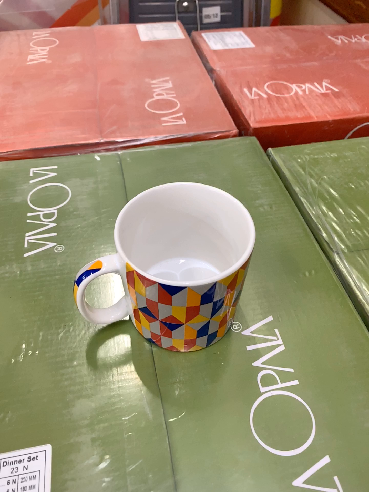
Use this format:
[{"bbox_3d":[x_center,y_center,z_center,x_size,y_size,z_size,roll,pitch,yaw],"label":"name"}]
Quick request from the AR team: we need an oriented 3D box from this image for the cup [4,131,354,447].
[{"bbox_3d":[-0.007,0.019,0.208,0.130,0.100,0.090,-20,51,-19],"label":"cup"}]
